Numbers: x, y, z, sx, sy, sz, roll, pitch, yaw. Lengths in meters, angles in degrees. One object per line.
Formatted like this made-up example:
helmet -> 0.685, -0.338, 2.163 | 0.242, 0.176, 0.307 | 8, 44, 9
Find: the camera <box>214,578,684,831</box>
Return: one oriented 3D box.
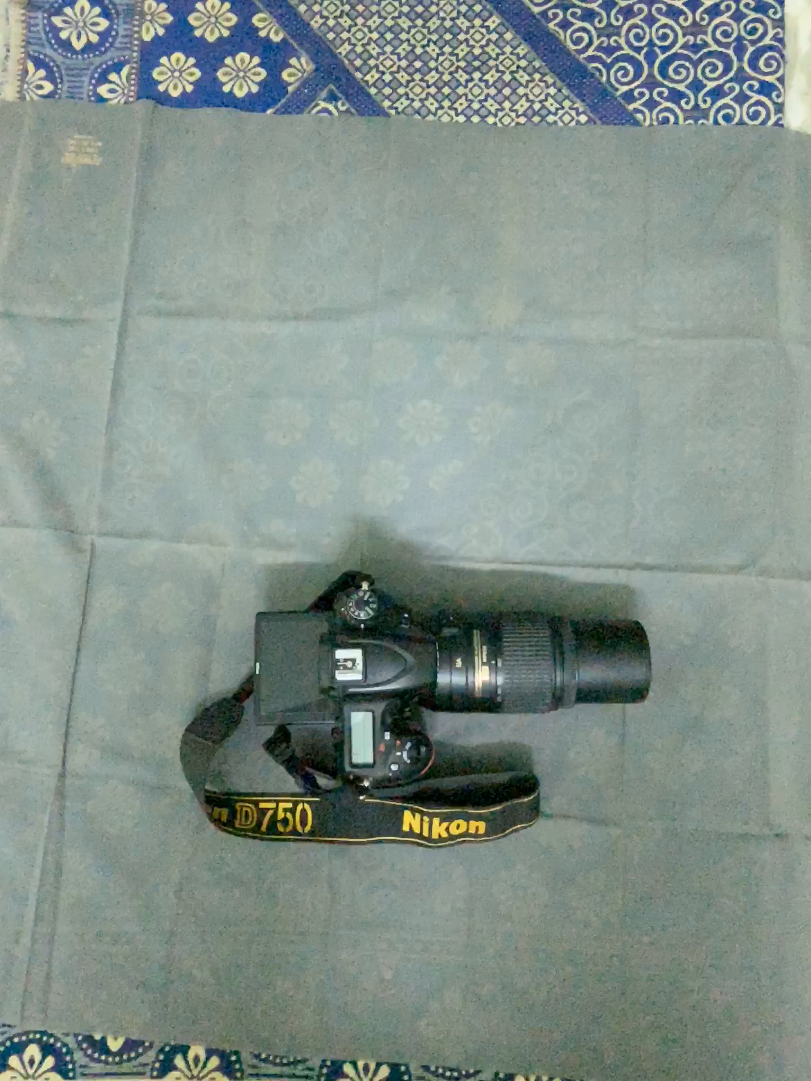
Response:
camera -> 0.029, 0.107, 0.567 | 0.288, 0.110, 0.147 | 1, 83, 4
